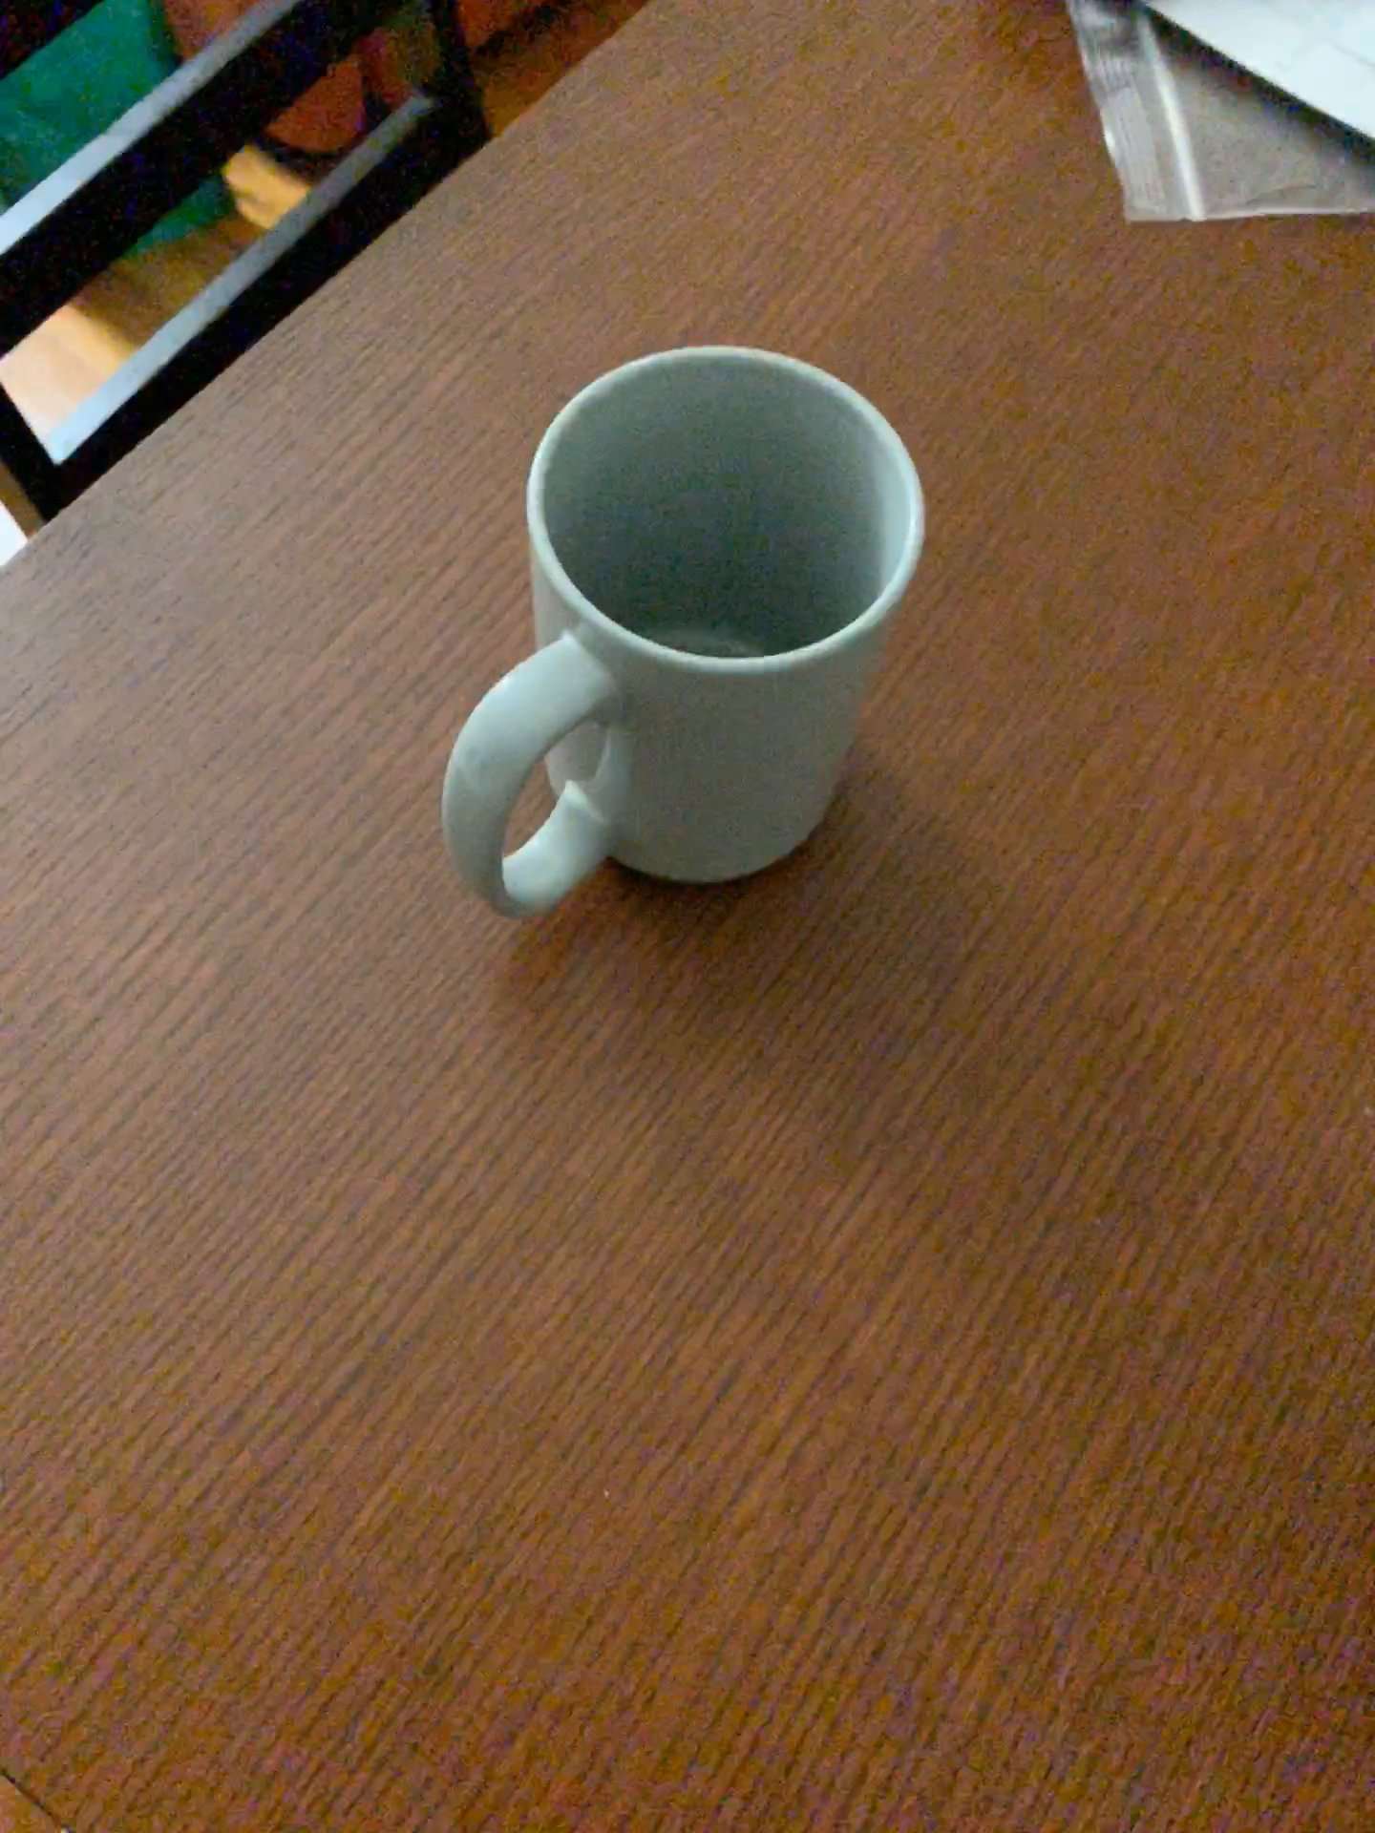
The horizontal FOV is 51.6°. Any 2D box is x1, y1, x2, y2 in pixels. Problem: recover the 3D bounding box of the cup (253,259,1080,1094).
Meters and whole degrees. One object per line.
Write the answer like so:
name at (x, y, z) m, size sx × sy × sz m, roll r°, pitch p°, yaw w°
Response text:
cup at (-0.006, -0.053, 0.344) m, size 0.140 × 0.110 × 0.100 m, roll -39°, pitch 76°, yaw -18°
